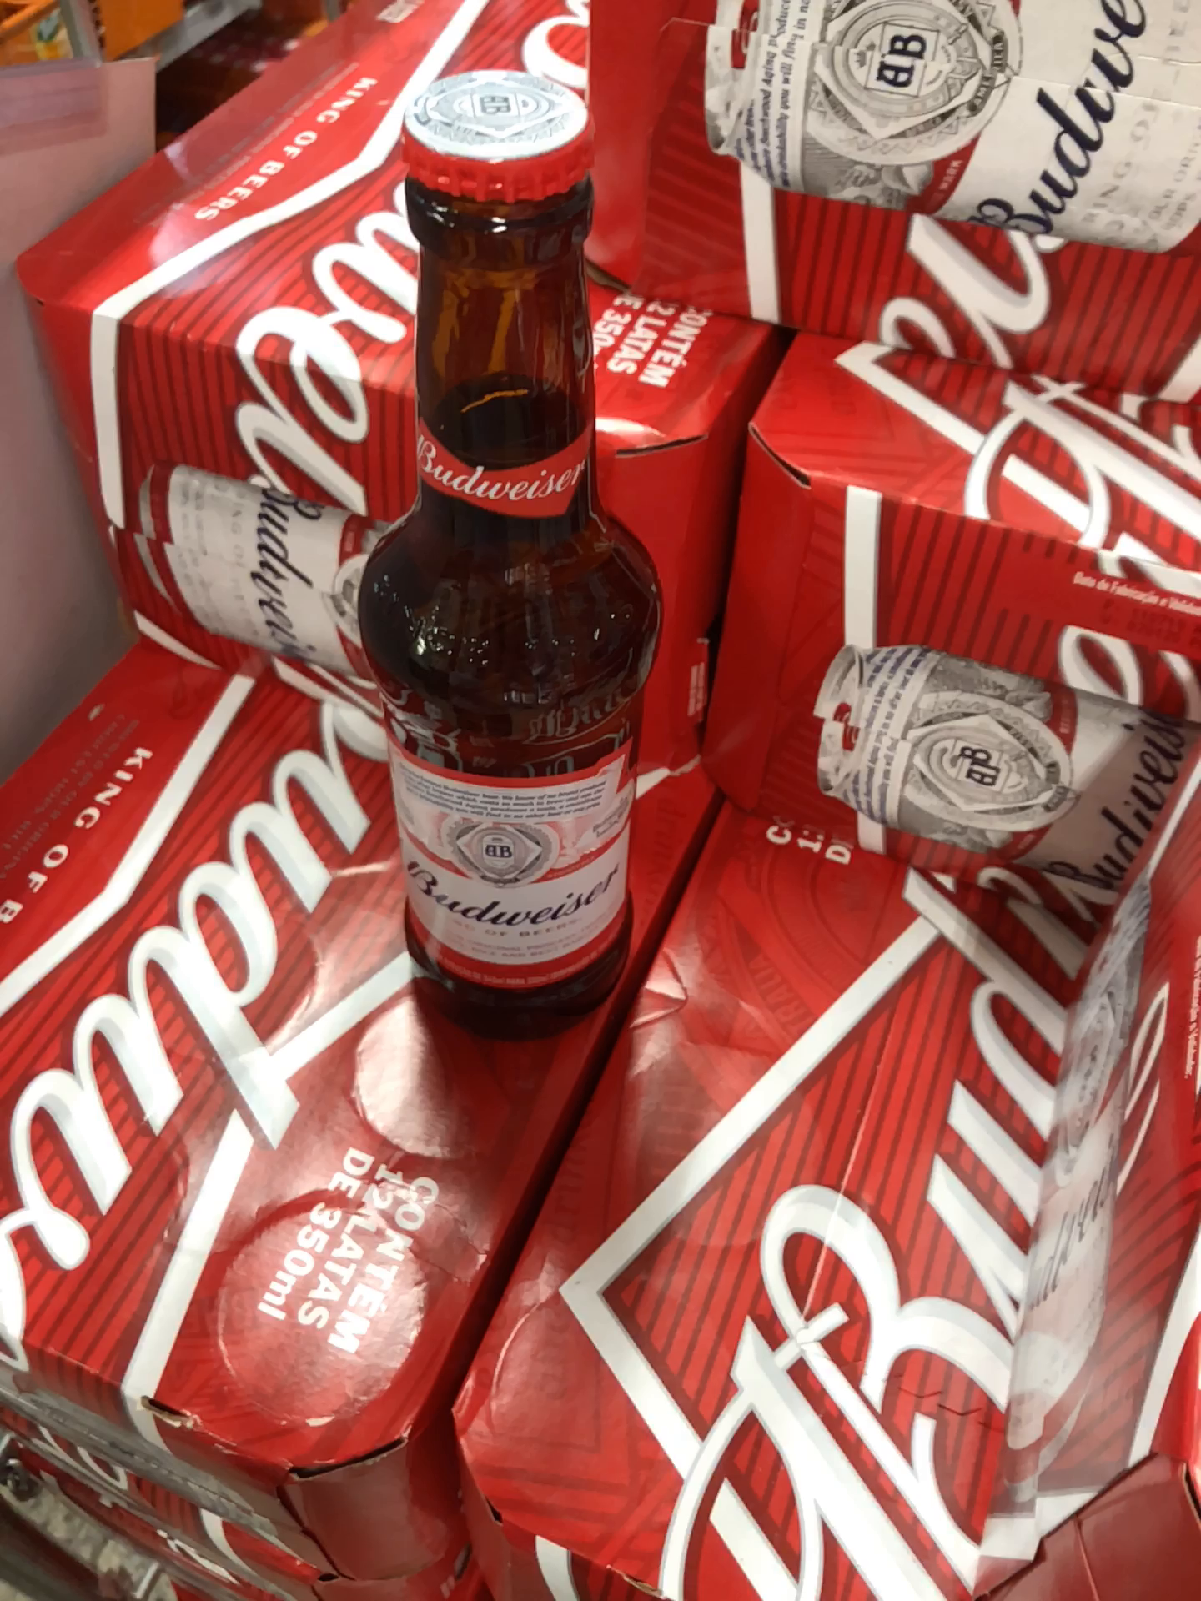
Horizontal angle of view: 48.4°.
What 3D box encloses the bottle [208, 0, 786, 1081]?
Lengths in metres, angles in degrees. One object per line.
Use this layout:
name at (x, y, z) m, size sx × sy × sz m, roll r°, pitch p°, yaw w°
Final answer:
bottle at (-0.015, -0.028, 0.280) m, size 0.070 × 0.228 × 0.060 m, roll 10°, pitch 51°, yaw 6°
